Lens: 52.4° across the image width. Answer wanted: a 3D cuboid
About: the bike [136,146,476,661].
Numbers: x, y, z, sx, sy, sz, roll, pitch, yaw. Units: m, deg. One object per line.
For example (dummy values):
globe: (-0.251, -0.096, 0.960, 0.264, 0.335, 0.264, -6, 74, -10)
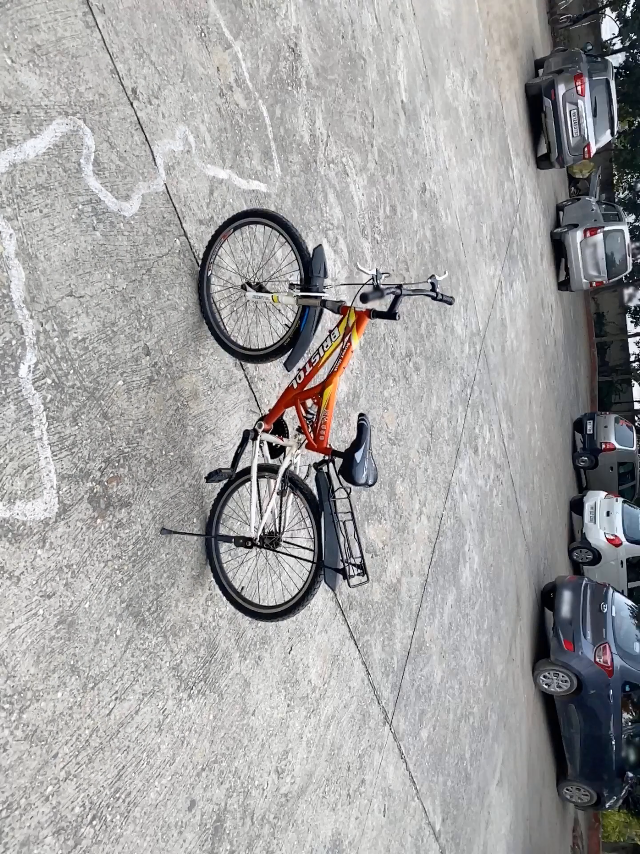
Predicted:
bike: (-0.051, -0.061, 2.372, 0.587, 0.977, 1.511, 3, 82, -64)
